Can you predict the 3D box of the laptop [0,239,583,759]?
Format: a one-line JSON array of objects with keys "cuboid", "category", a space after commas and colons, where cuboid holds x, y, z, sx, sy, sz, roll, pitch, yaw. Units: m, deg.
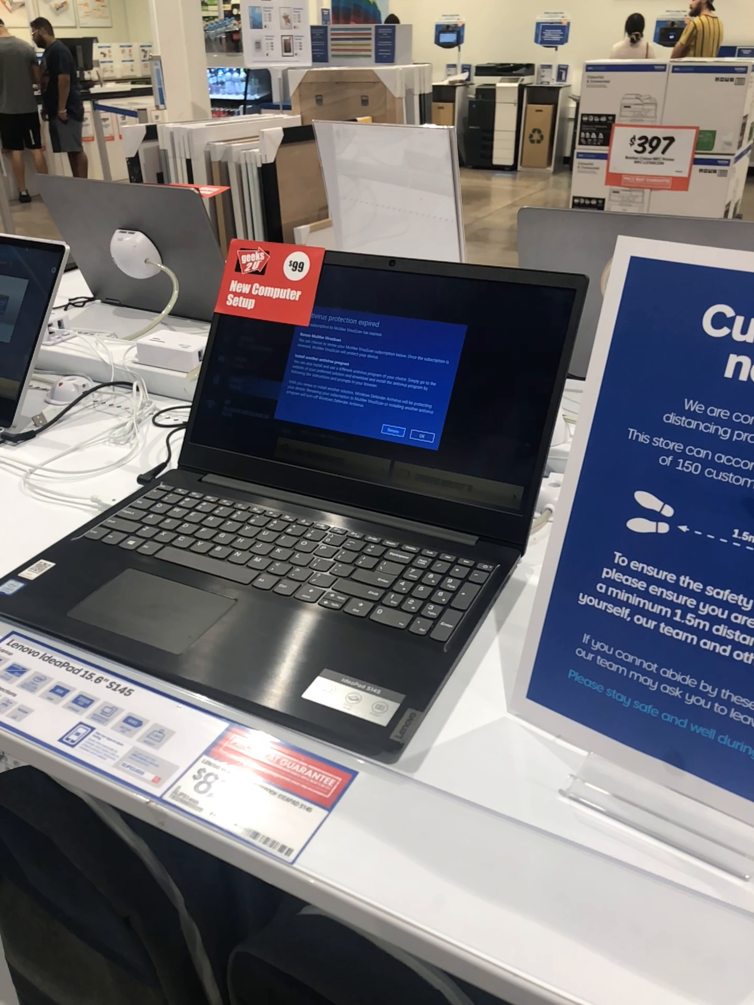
[{"cuboid": [-0.070, -0.056, 0.653, 0.353, 0.192, 0.370, 13, 32, 24], "category": "laptop"}]
